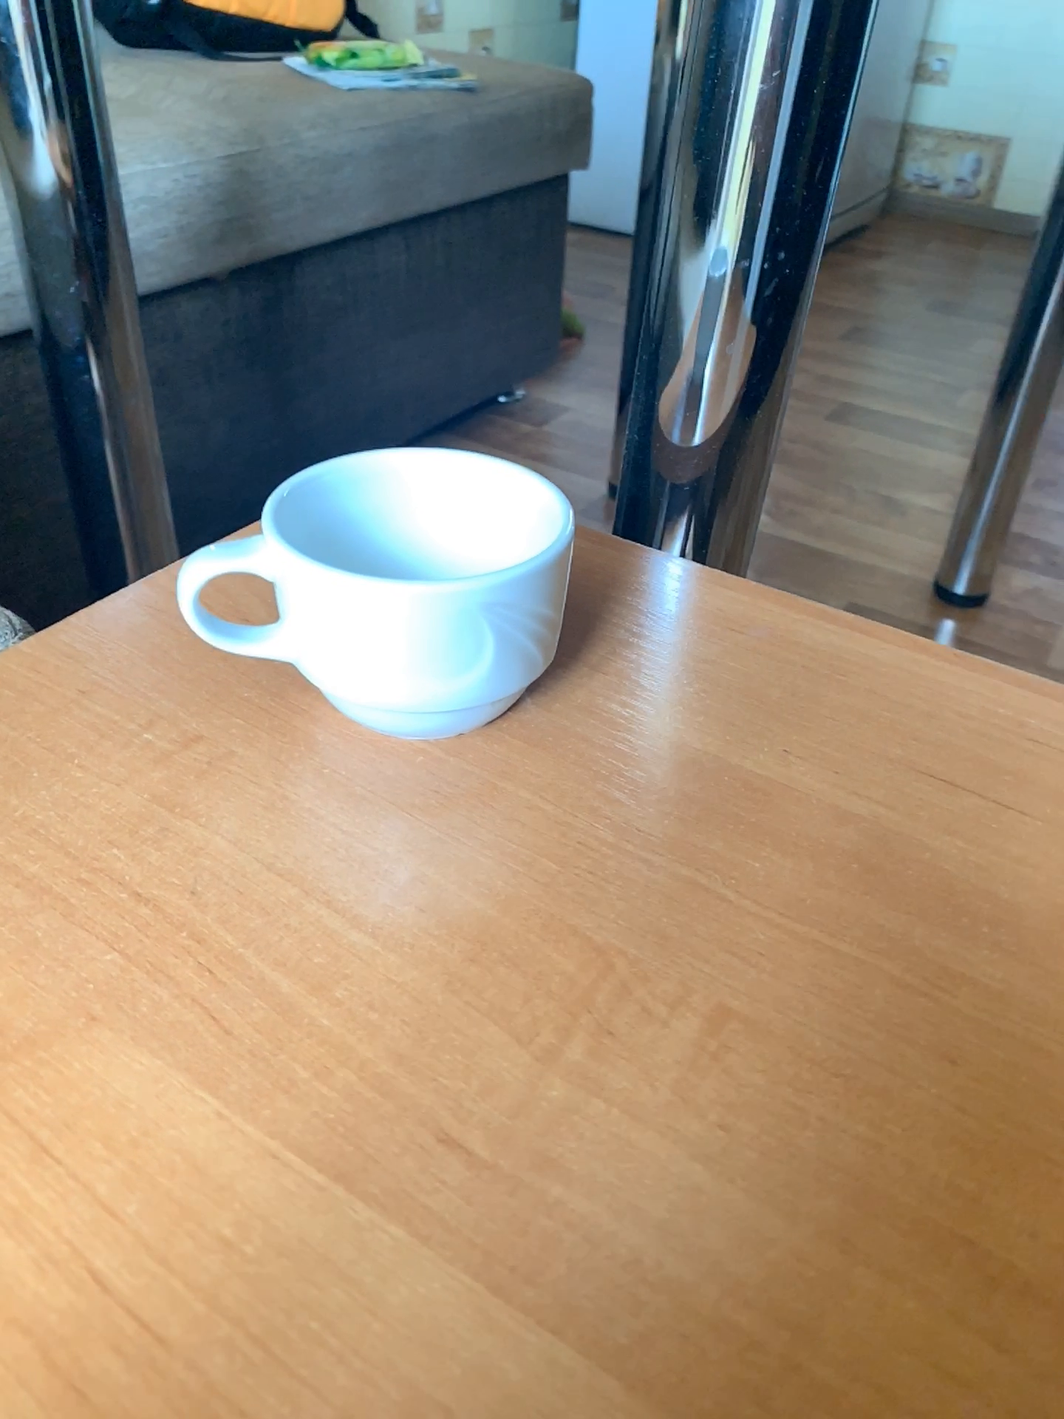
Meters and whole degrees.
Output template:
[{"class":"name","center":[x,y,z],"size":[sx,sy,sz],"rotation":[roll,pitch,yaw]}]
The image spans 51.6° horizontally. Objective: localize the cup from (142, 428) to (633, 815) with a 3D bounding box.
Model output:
[{"class":"cup","center":[-0.039,-0.027,0.273],"size":[0.100,0.050,0.080],"rotation":[-8,38,-16]}]
